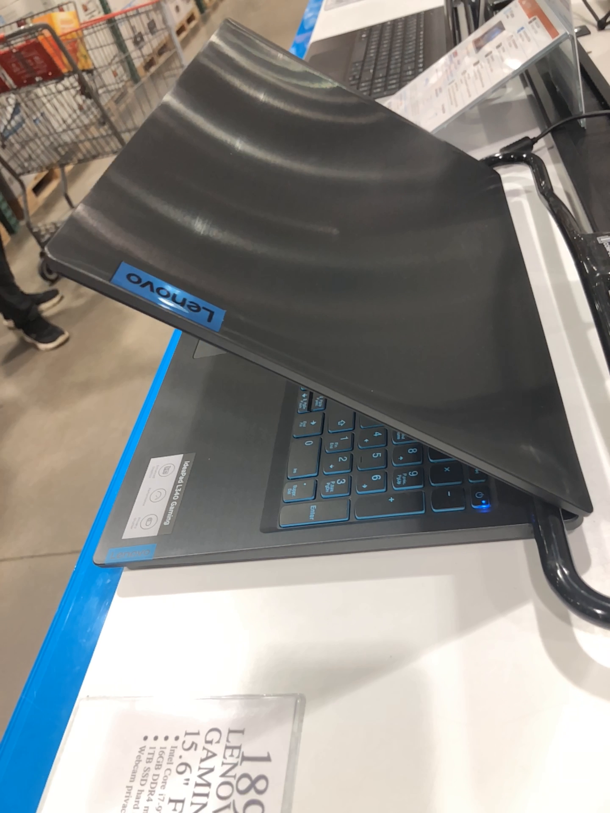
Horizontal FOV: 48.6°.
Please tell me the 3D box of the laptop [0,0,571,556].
[{"bbox_3d":[-0.005,-0.113,0.403,0.240,0.170,0.346,-9,40,16],"label":"laptop"}]
